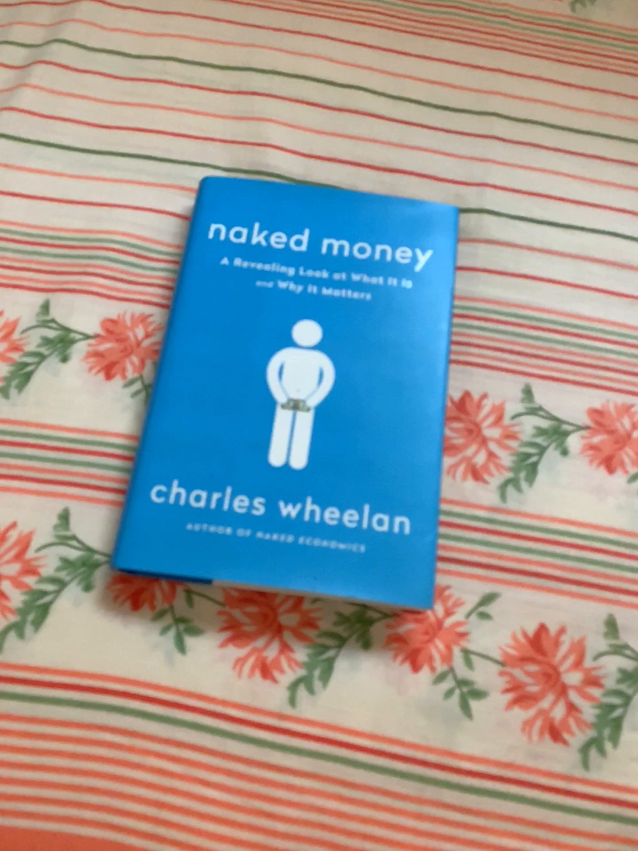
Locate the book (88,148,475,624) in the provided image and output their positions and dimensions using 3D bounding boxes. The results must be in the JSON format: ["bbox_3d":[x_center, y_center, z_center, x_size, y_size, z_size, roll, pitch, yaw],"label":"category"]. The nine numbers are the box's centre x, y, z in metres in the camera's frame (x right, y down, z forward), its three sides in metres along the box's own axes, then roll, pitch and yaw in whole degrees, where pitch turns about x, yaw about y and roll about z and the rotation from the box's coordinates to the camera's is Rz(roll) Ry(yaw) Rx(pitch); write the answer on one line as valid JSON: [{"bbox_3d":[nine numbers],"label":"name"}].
[{"bbox_3d":[-0.007,-0.032,0.360,0.170,0.040,0.251,7,69,0],"label":"book"}]
